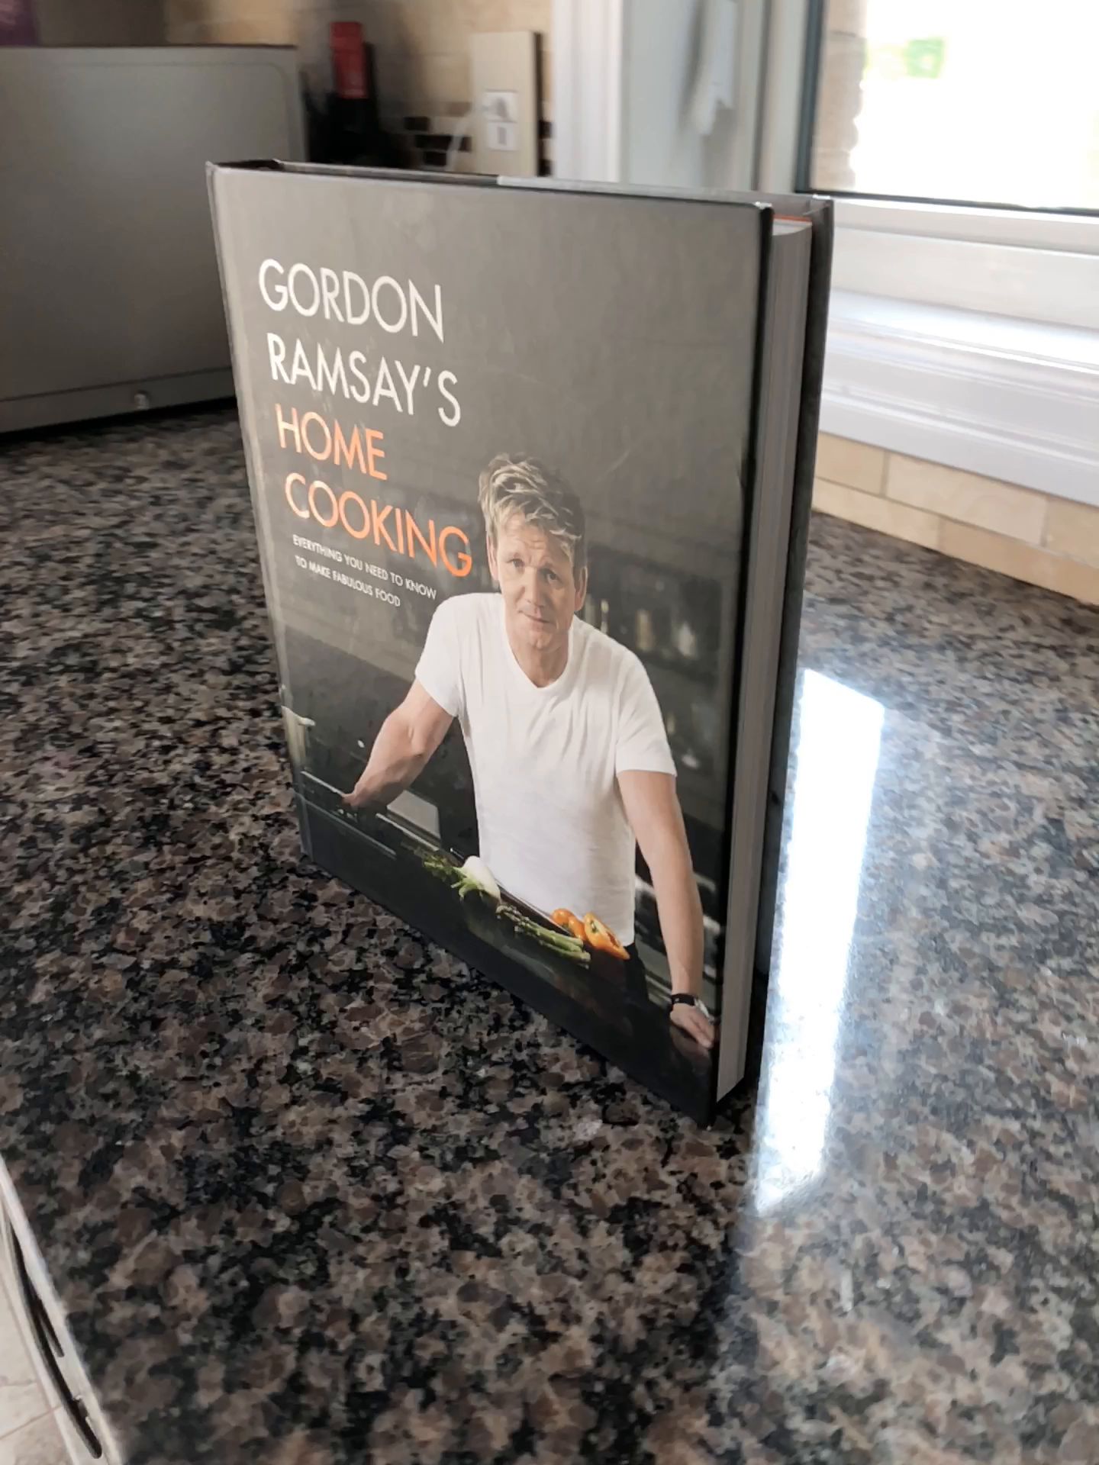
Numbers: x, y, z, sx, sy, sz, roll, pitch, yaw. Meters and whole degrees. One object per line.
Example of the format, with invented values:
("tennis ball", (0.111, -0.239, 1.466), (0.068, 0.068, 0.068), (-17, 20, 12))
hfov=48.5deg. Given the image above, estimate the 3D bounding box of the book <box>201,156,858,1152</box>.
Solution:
("book", (-0.020, -0.031, 0.379), (0.028, 0.261, 0.217), (-25, 37, -38))
